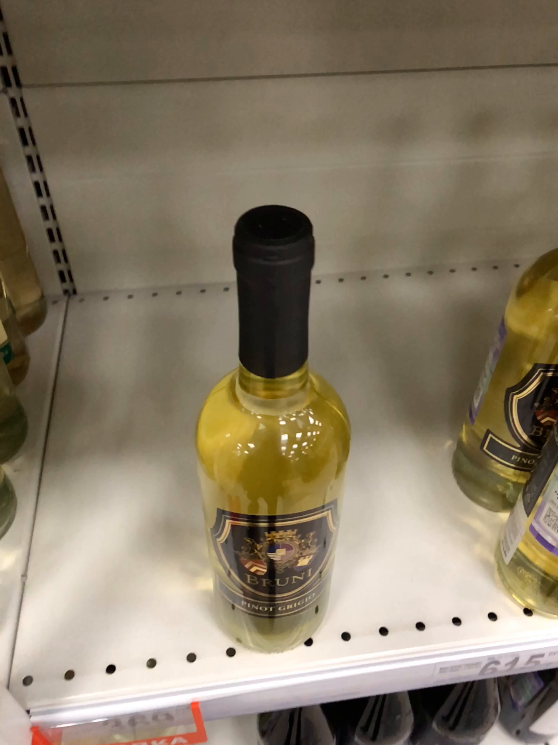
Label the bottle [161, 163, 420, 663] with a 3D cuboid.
[{"bbox_3d":[-0.003,0.049,0.319,0.080,0.289,0.080,1,45,-1],"label":"bottle"}]
